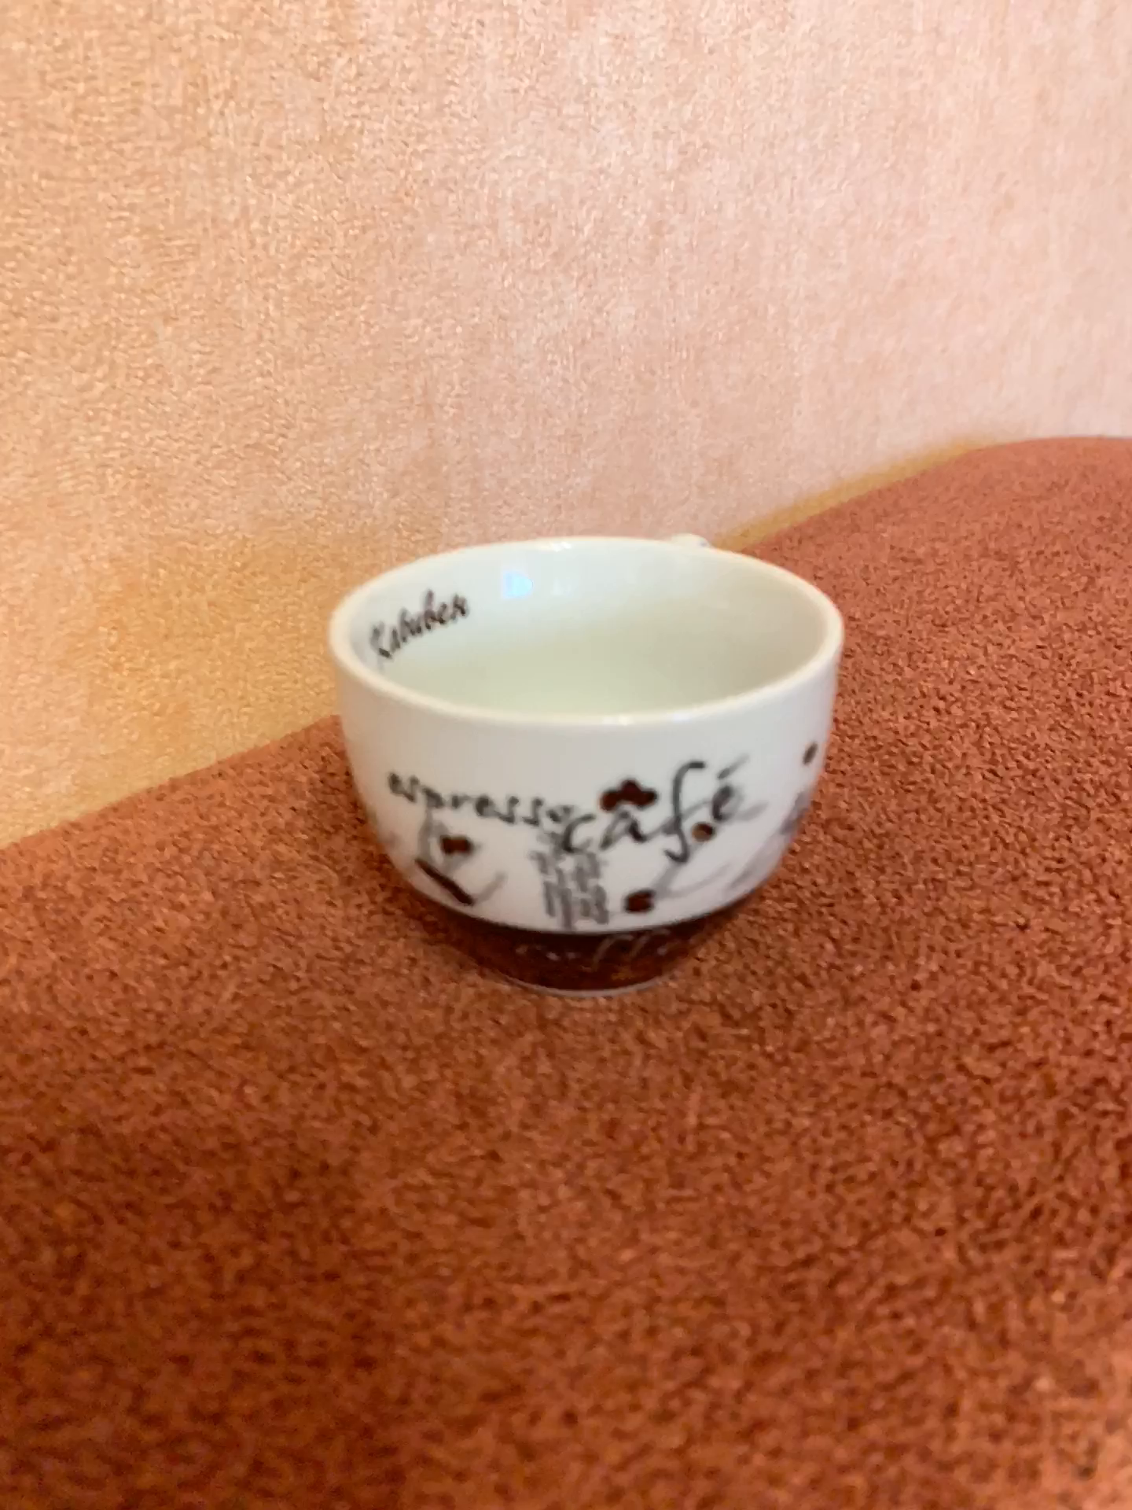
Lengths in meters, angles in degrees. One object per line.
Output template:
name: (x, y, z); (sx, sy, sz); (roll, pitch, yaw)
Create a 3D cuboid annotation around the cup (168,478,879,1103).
cup: (0.002, -0.004, 0.162); (0.065, 0.040, 0.083); (10, 31, 19)
